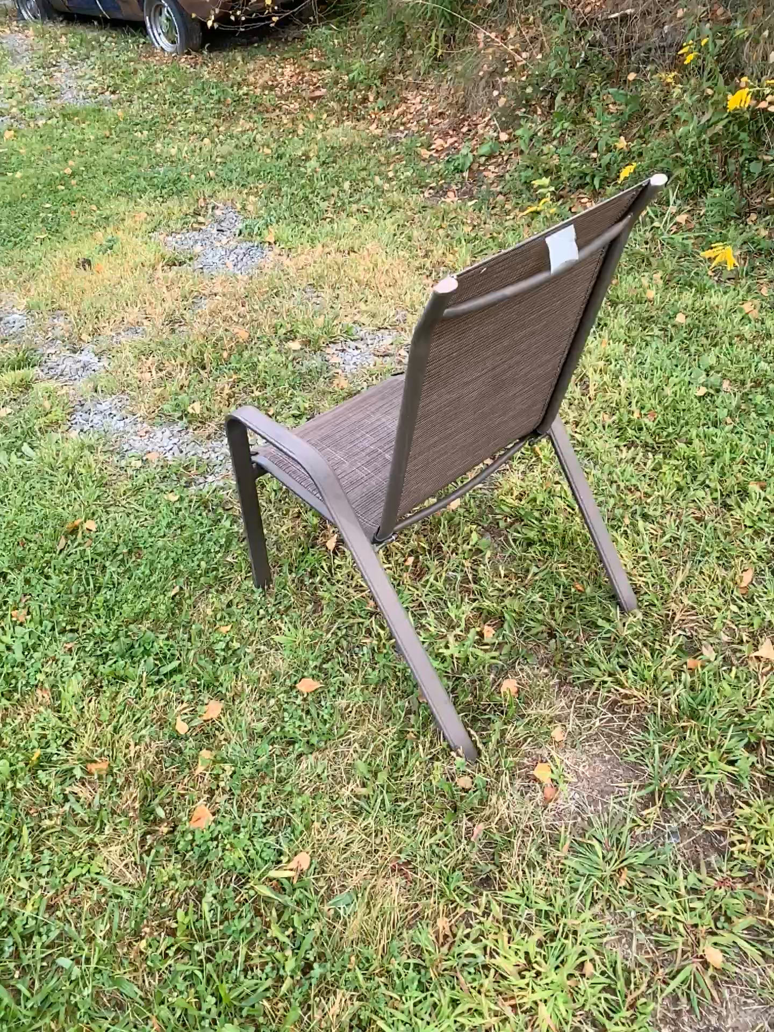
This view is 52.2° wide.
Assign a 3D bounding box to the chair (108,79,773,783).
[{"bbox_3d":[0.072,-0.183,1.439,0.621,0.875,0.743,-33,50,-29],"label":"chair"}]
